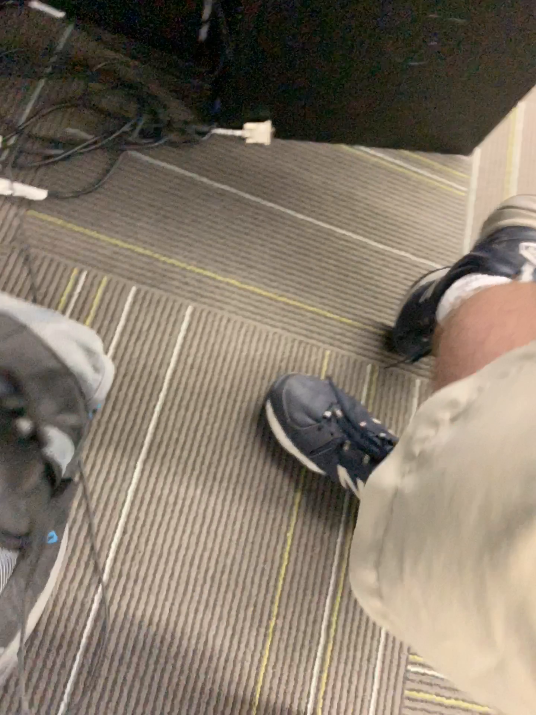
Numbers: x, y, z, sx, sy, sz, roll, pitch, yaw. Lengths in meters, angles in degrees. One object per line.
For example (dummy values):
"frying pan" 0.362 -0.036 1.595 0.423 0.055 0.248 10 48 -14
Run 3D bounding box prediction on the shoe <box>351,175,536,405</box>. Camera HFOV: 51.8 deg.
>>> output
"shoe" 0.243 -0.061 0.684 0.122 0.293 0.129 39 65 -2

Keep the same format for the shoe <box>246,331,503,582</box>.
"shoe" 0.128 0.121 0.680 0.296 0.077 0.120 43 67 1
